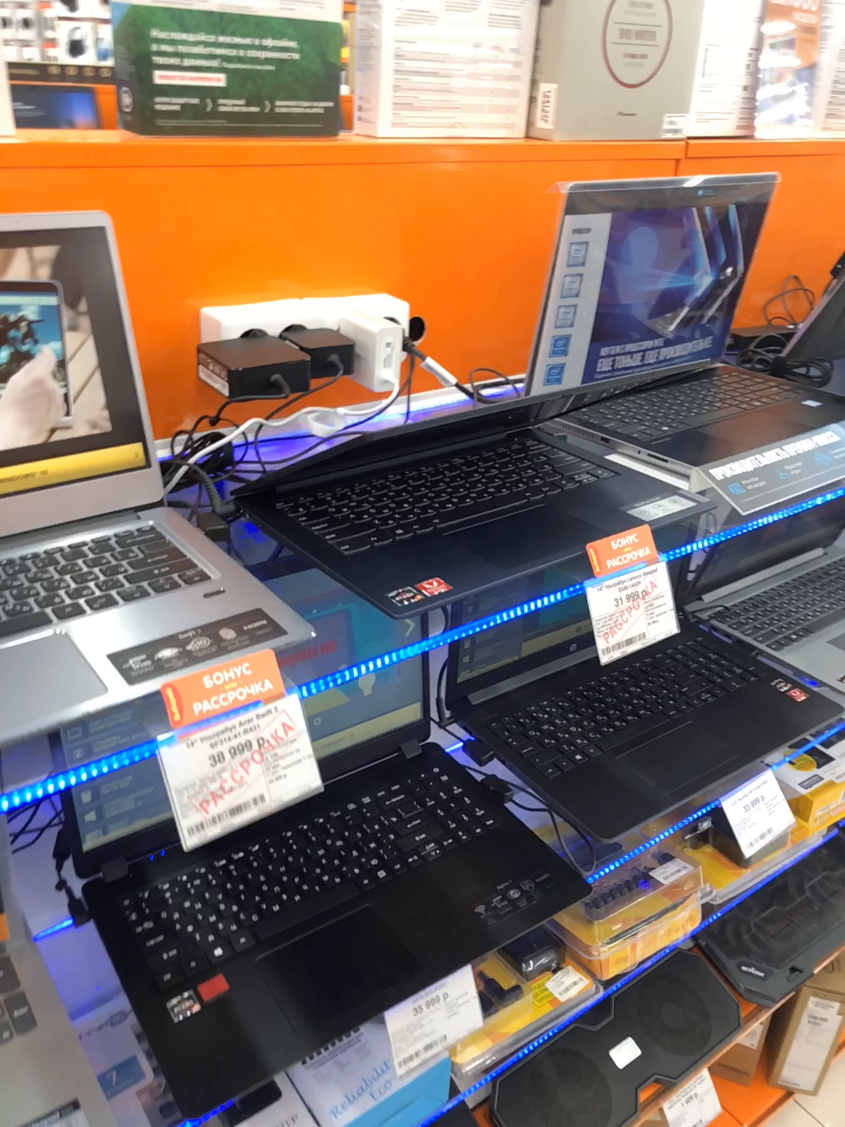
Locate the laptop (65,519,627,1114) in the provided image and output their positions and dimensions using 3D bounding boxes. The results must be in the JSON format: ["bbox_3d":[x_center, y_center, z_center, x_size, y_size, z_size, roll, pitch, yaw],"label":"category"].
[{"bbox_3d":[-0.062,0.153,0.717,0.343,0.230,0.246,-15,31,-30],"label":"laptop"}]

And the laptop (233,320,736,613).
[{"bbox_3d":[0.044,-0.094,0.705,0.300,0.106,0.212,-17,32,-32],"label":"laptop"}]

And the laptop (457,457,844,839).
[{"bbox_3d":[0.247,0.059,0.937,0.353,0.215,0.226,-15,31,-30],"label":"laptop"}]

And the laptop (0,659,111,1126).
[{"bbox_3d":[-0.383,0.246,0.499,0.348,0.208,0.235,-16,32,-35],"label":"laptop"}]

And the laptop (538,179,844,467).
[{"bbox_3d":[0.303,-0.258,0.917,0.306,0.213,0.228,-16,30,-32],"label":"laptop"}]

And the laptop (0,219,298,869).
[{"bbox_3d":[-0.255,-0.055,0.483,0.316,0.203,0.225,-16,31,-33],"label":"laptop"}]
